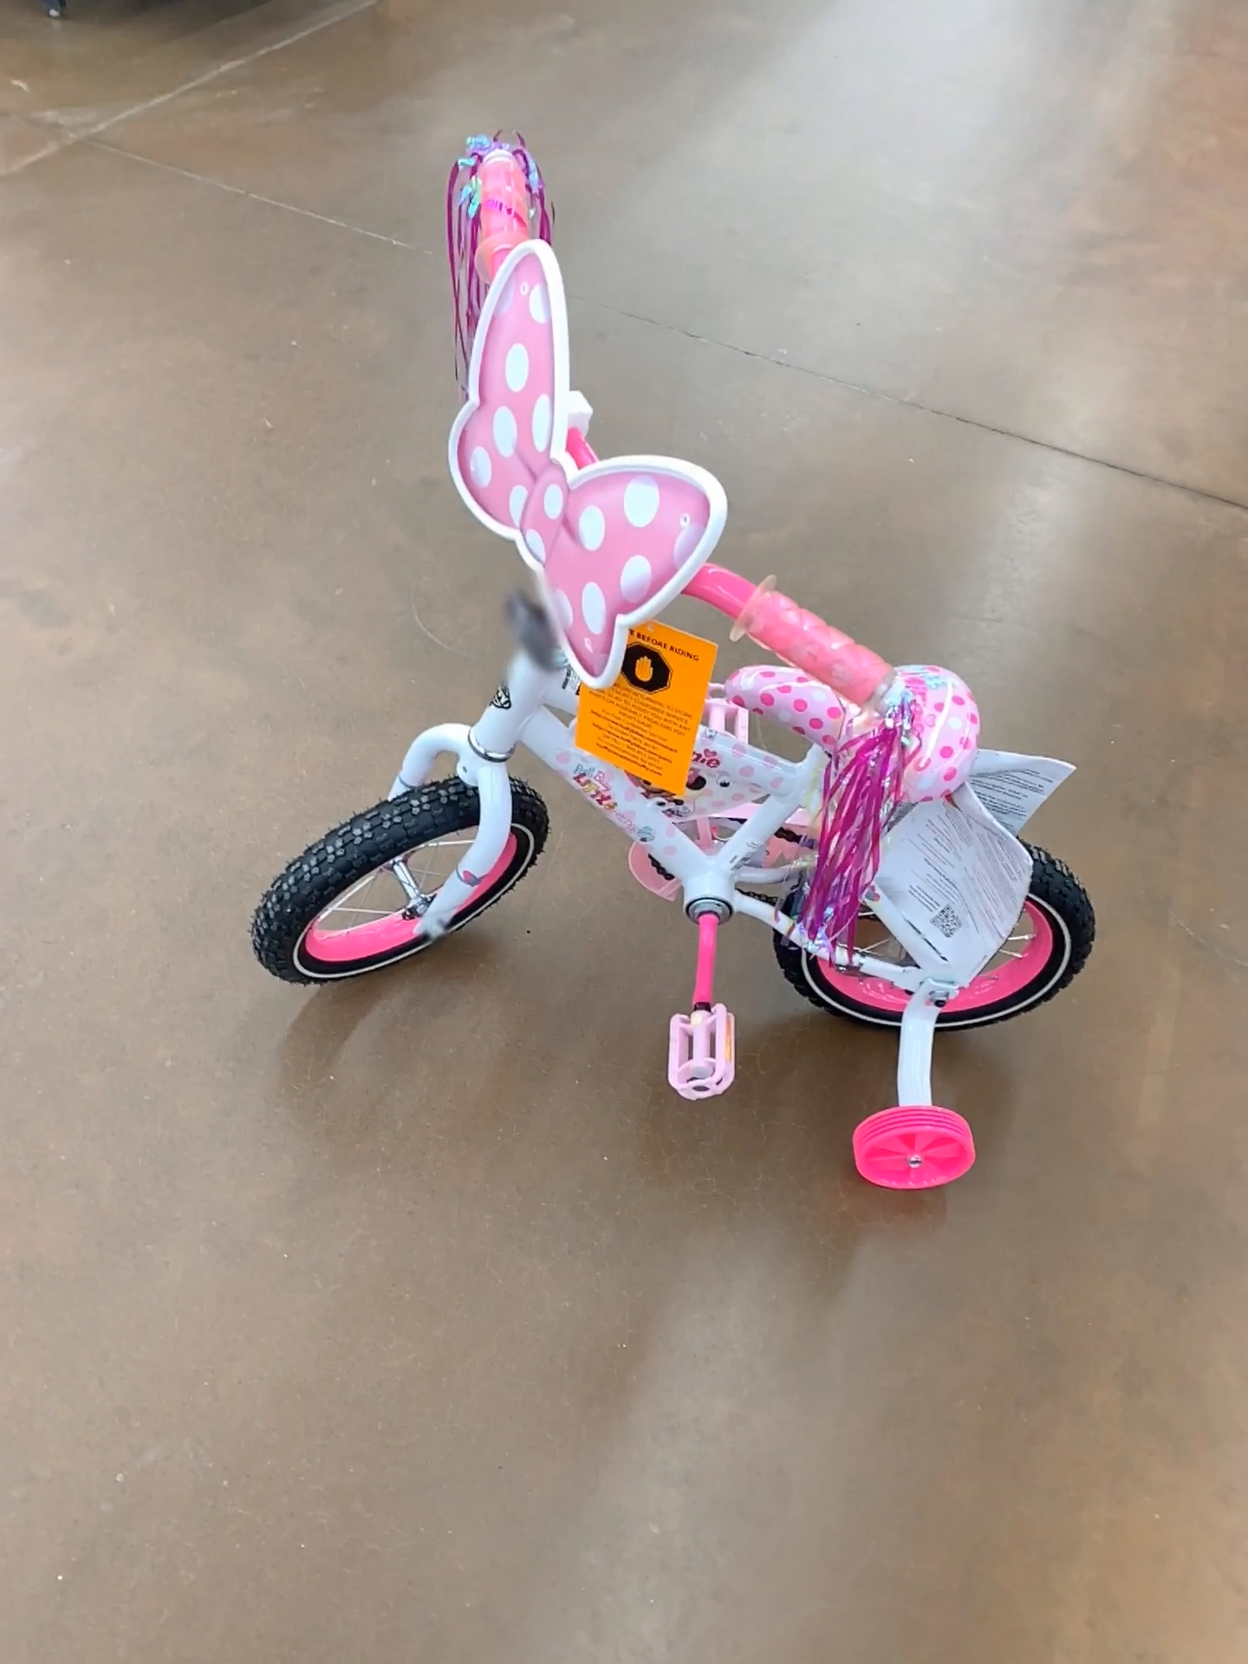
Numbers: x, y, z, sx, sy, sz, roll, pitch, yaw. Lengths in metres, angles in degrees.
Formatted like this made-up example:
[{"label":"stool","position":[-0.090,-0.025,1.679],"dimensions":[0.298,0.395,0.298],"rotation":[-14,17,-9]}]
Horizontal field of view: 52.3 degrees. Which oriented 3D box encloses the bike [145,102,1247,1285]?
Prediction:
[{"label":"bike","position":[0.092,-0.031,1.000],"dimensions":[0.759,0.750,0.445],"rotation":[-2,48,-12]}]
